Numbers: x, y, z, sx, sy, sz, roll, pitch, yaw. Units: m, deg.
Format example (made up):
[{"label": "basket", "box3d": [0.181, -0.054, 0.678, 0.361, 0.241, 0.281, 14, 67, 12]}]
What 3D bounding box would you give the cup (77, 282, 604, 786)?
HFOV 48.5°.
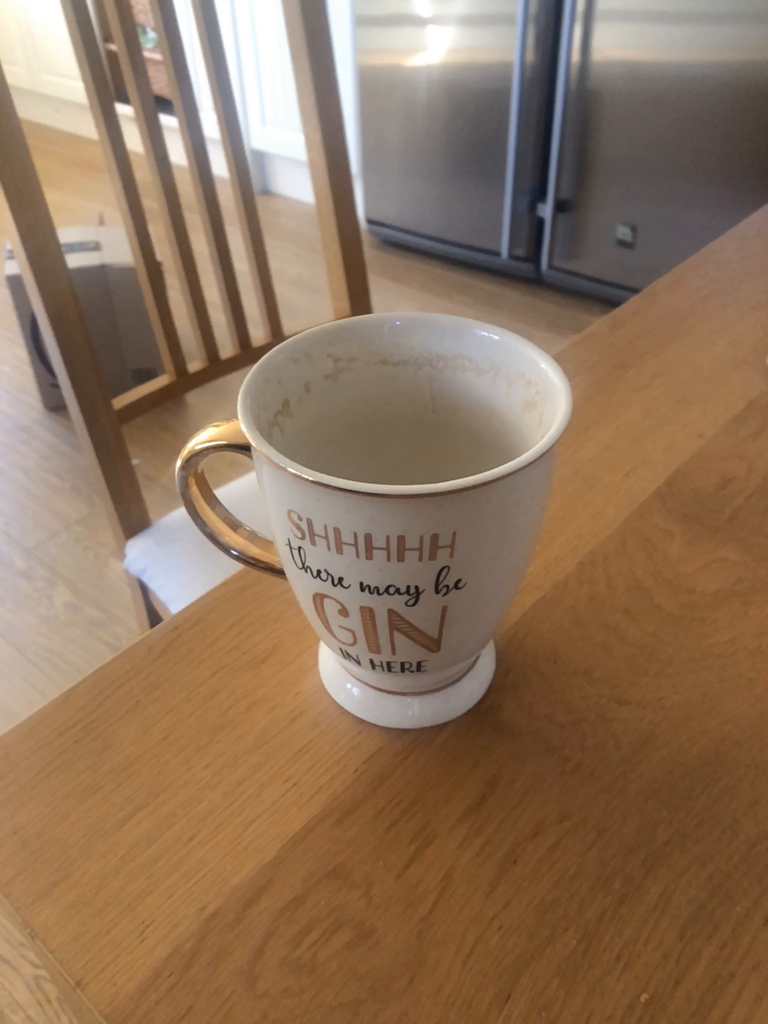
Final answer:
[{"label": "cup", "box3d": [-0.004, 0.001, 0.297, 0.134, 0.111, 0.109, 9, 40, 13]}]
